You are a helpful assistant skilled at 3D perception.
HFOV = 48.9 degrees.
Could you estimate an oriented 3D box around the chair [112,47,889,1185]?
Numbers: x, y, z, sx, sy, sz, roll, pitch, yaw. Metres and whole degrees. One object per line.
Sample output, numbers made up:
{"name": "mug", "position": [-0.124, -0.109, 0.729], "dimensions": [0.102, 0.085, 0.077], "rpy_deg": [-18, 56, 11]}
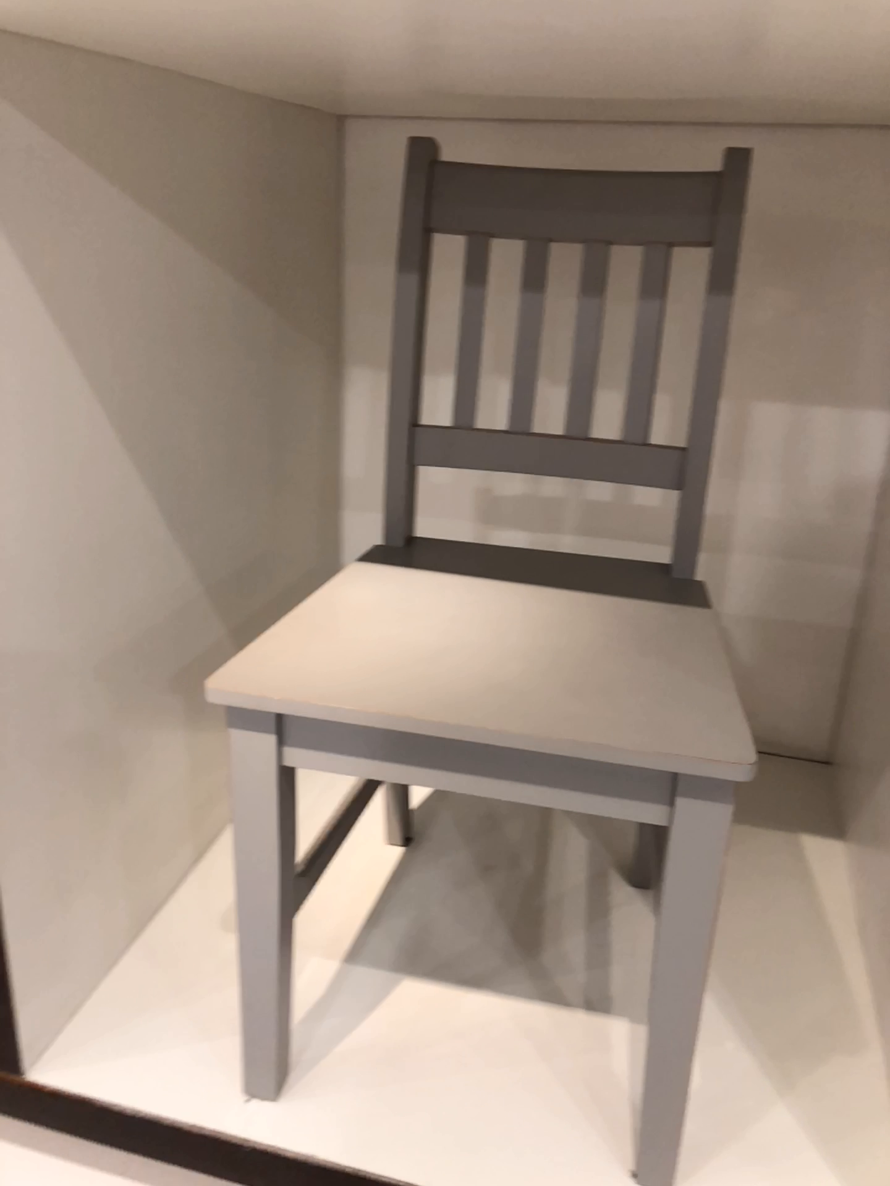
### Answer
{"name": "chair", "position": [0.065, -0.014, 0.986], "dimensions": [0.460, 0.864, 0.584], "rpy_deg": [7, 22, 11]}
